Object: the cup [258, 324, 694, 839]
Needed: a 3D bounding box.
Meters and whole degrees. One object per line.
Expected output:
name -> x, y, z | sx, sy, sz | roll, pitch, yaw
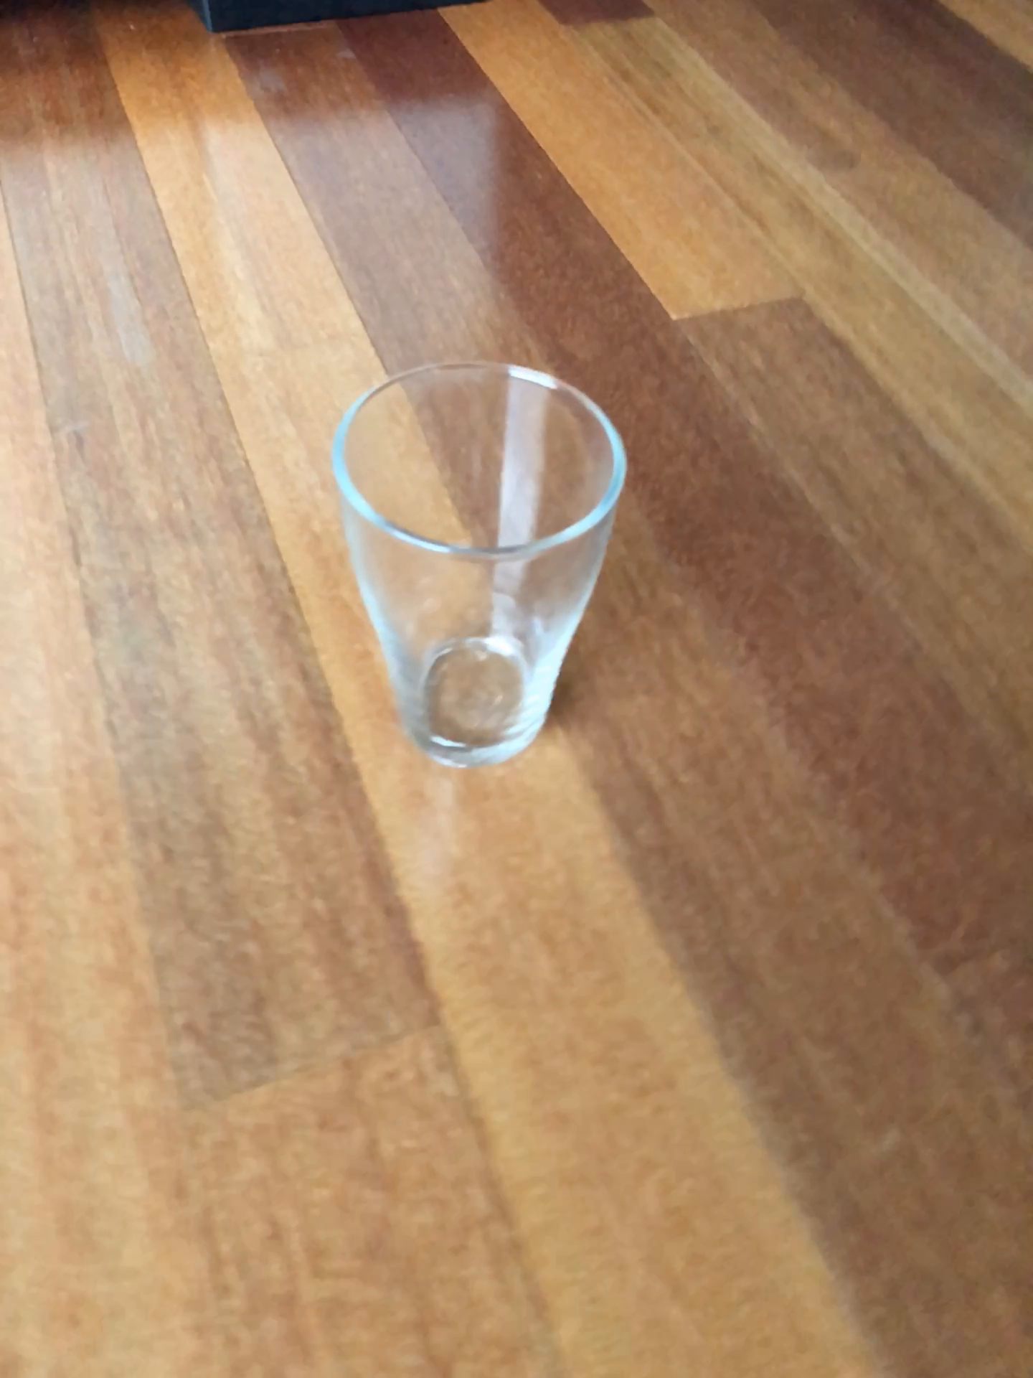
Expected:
cup -> -0.016, -0.033, 0.359 | 0.090, 0.109, 0.090 | 2, 52, -3
